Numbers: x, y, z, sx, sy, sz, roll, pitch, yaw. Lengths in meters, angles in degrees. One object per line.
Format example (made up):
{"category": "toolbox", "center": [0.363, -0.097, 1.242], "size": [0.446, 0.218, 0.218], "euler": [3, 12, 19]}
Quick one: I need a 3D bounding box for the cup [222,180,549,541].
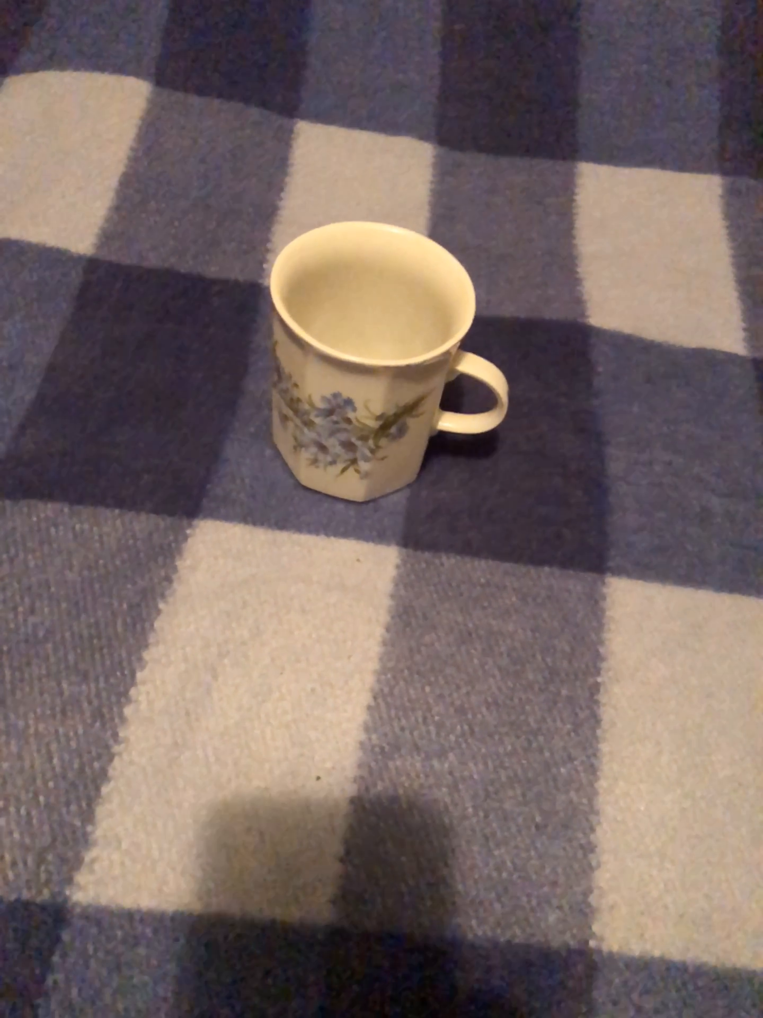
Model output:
{"category": "cup", "center": [0.001, -0.058, 0.343], "size": [0.098, 0.094, 0.077], "euler": [19, 58, 6]}
